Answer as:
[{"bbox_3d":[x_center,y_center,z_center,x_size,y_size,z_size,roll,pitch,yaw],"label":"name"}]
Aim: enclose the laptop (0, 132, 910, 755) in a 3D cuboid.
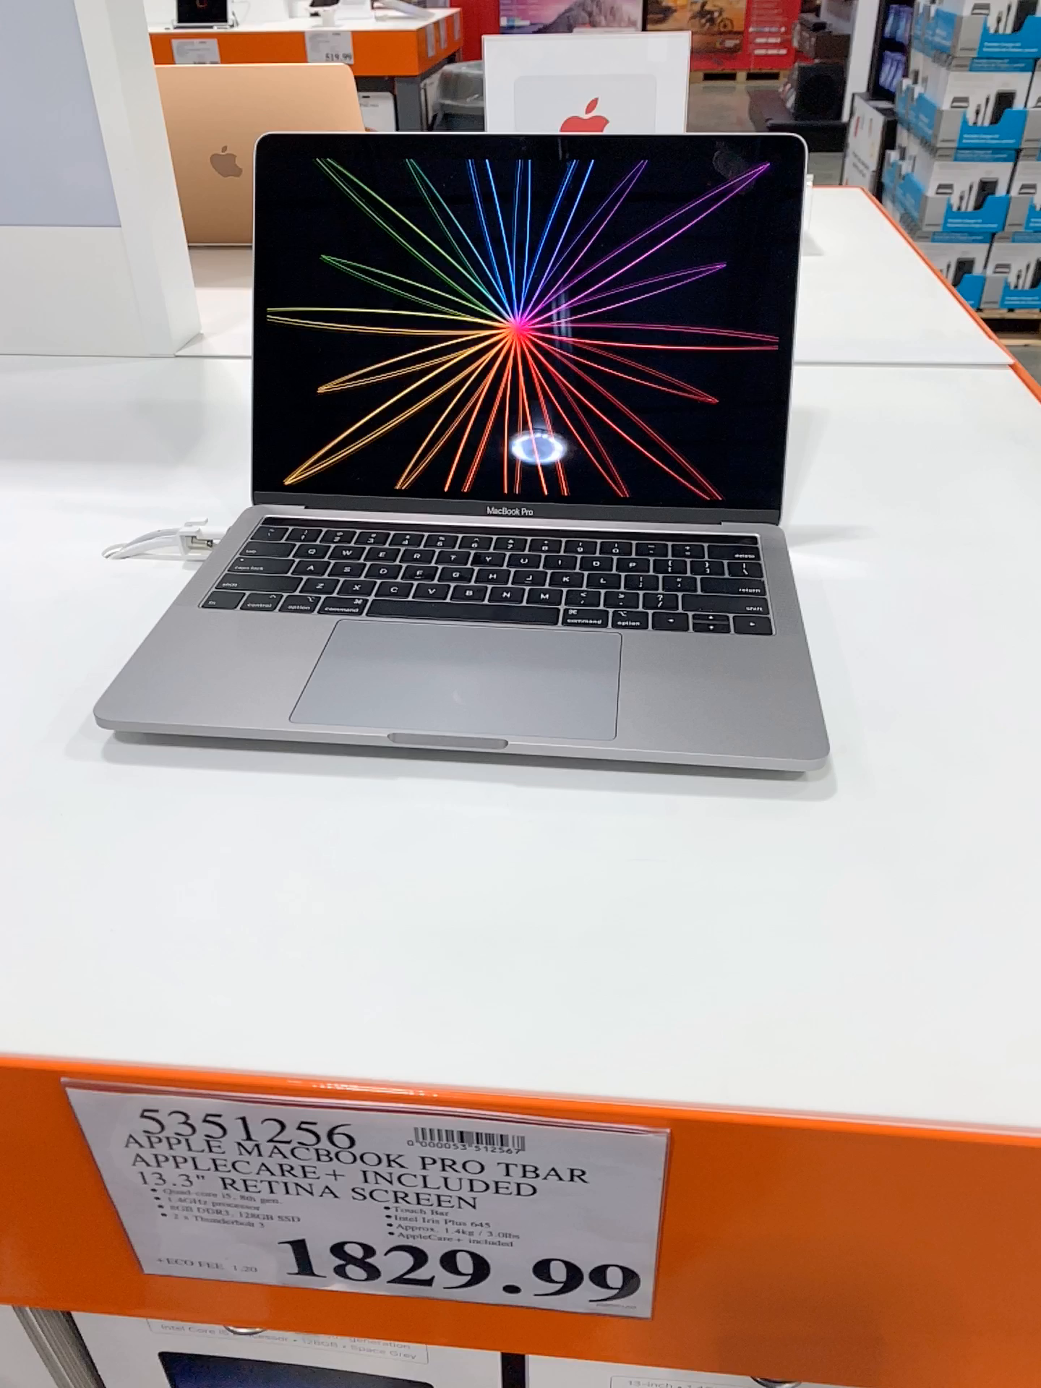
[{"bbox_3d":[-0.013,-0.141,0.490,0.289,0.165,0.308,3,35,6],"label":"laptop"}]
